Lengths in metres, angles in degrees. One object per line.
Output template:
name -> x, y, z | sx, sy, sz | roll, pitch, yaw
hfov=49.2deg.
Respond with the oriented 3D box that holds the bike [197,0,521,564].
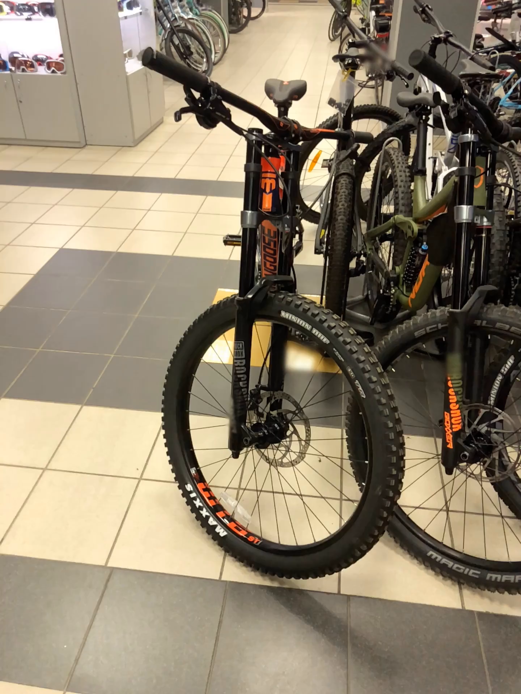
bike -> 0.237, -0.414, 1.784 | 0.800, 1.108, 1.707 | -1, 31, -4
